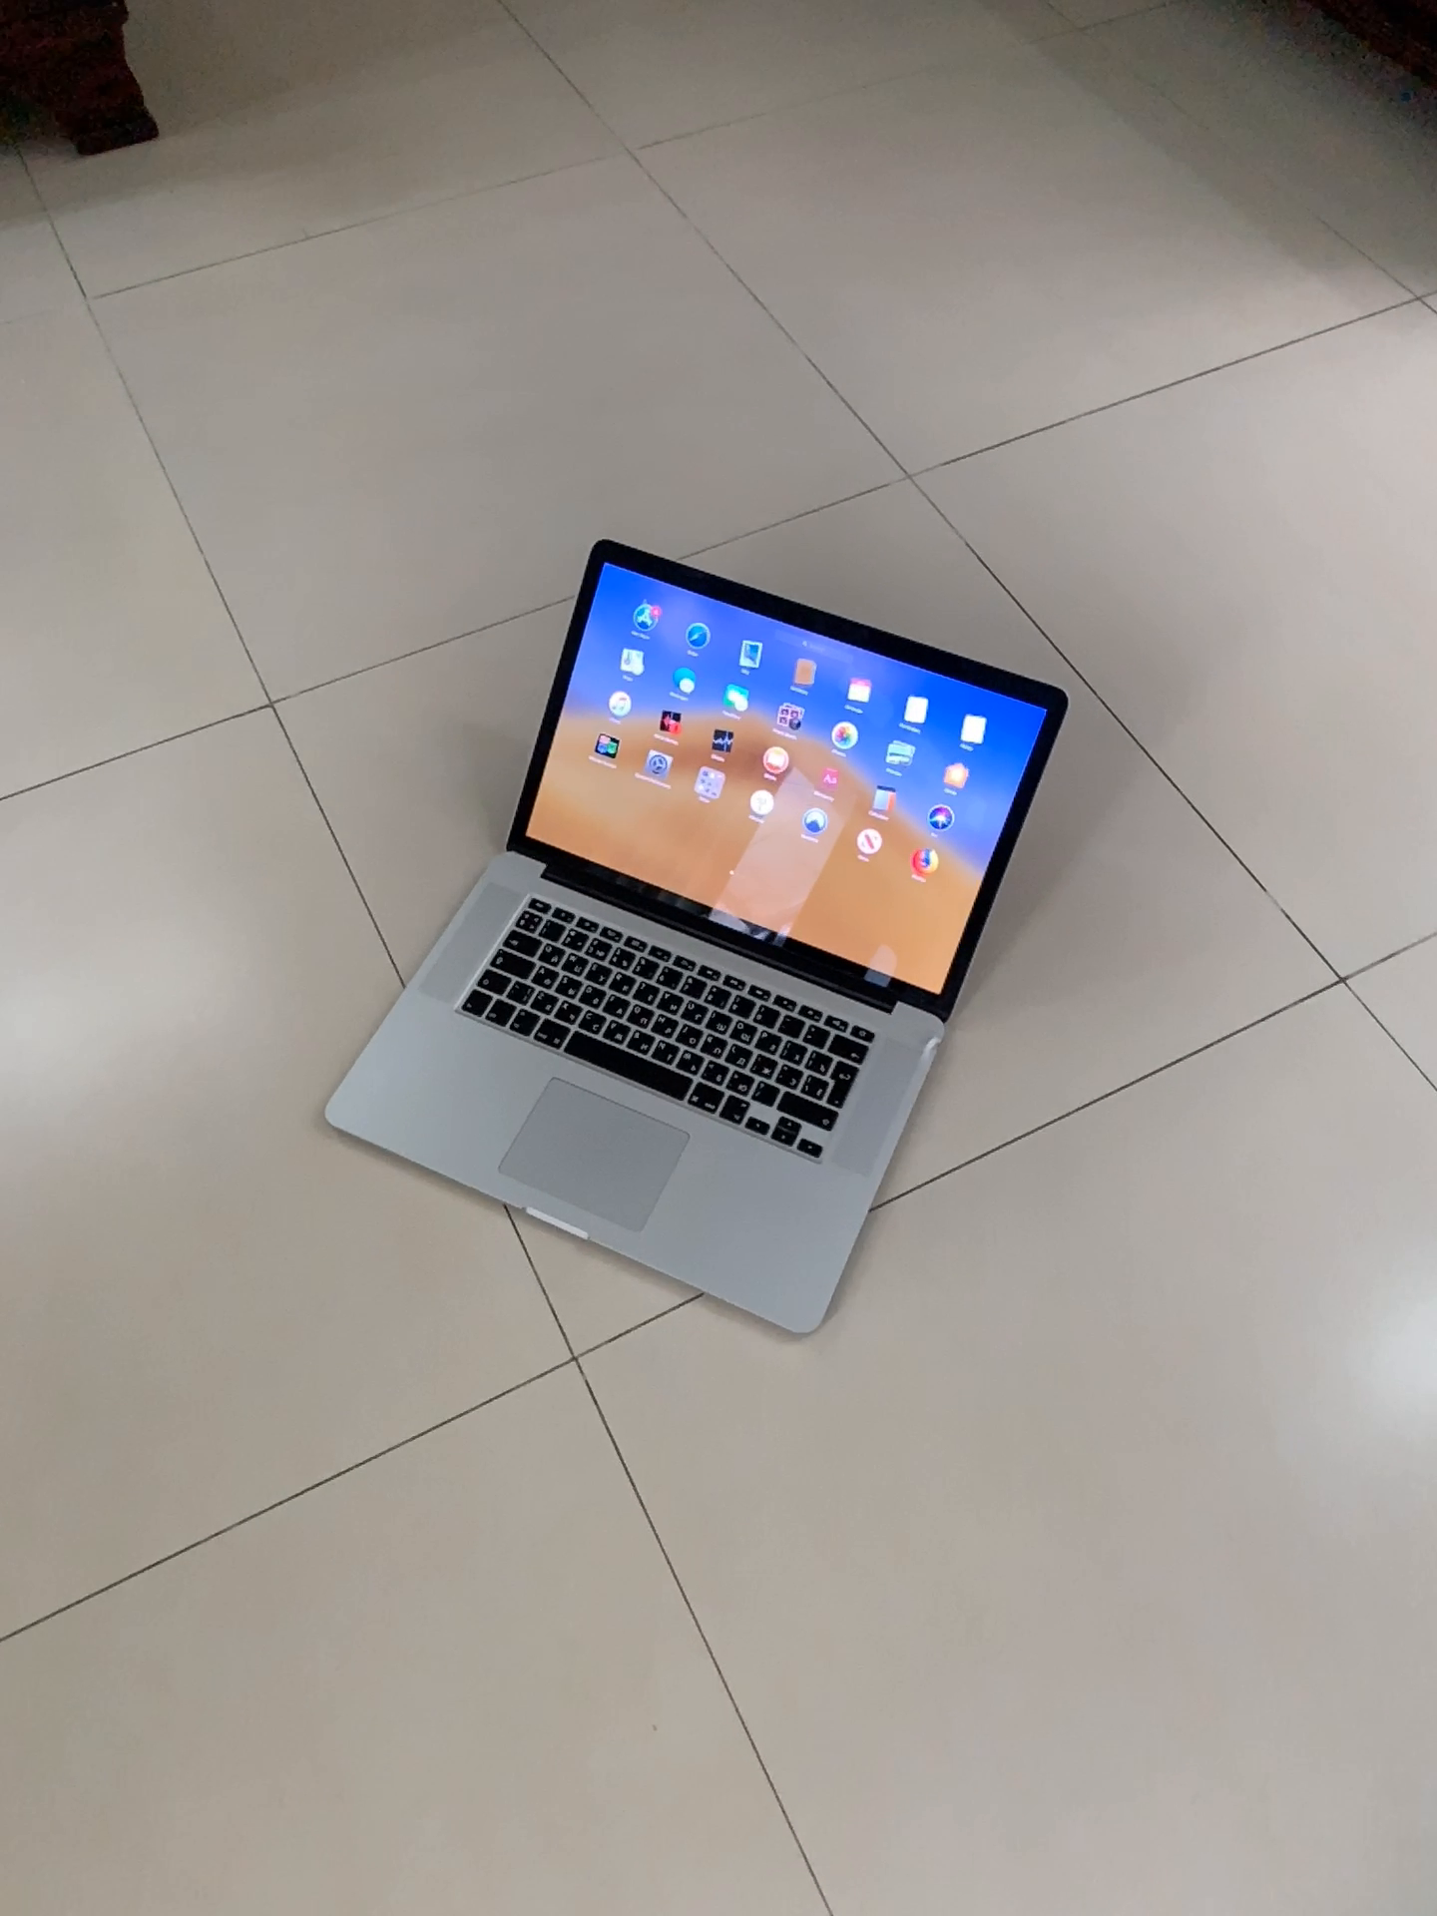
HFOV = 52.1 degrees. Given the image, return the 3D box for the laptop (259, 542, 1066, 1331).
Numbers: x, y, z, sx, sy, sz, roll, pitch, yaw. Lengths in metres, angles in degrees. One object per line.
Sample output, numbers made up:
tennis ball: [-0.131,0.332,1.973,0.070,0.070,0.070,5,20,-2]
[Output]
laptop: [-0.016,-0.034,0.977,0.352,0.162,0.416,21,59,12]
